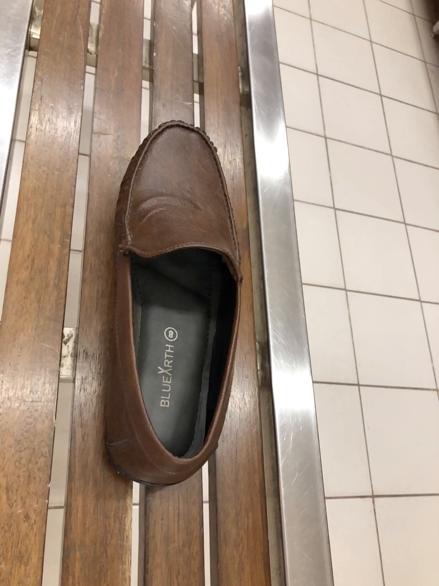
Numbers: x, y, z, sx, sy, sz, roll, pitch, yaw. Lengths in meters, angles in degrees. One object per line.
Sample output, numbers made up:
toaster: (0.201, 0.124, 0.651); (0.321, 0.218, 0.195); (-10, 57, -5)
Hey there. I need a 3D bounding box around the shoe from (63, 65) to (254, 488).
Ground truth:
shoe: (-0.037, -0.014, 0.352); (0.090, 0.090, 0.281); (12, 65, -19)
